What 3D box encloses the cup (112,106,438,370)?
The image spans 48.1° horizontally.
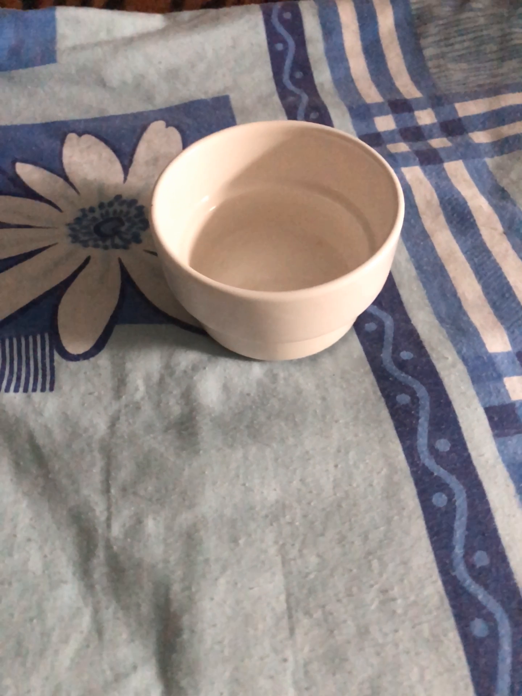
[{"bbox_3d":[0.004,-0.038,0.203,0.091,0.047,0.077,1,59,0],"label":"cup"}]
